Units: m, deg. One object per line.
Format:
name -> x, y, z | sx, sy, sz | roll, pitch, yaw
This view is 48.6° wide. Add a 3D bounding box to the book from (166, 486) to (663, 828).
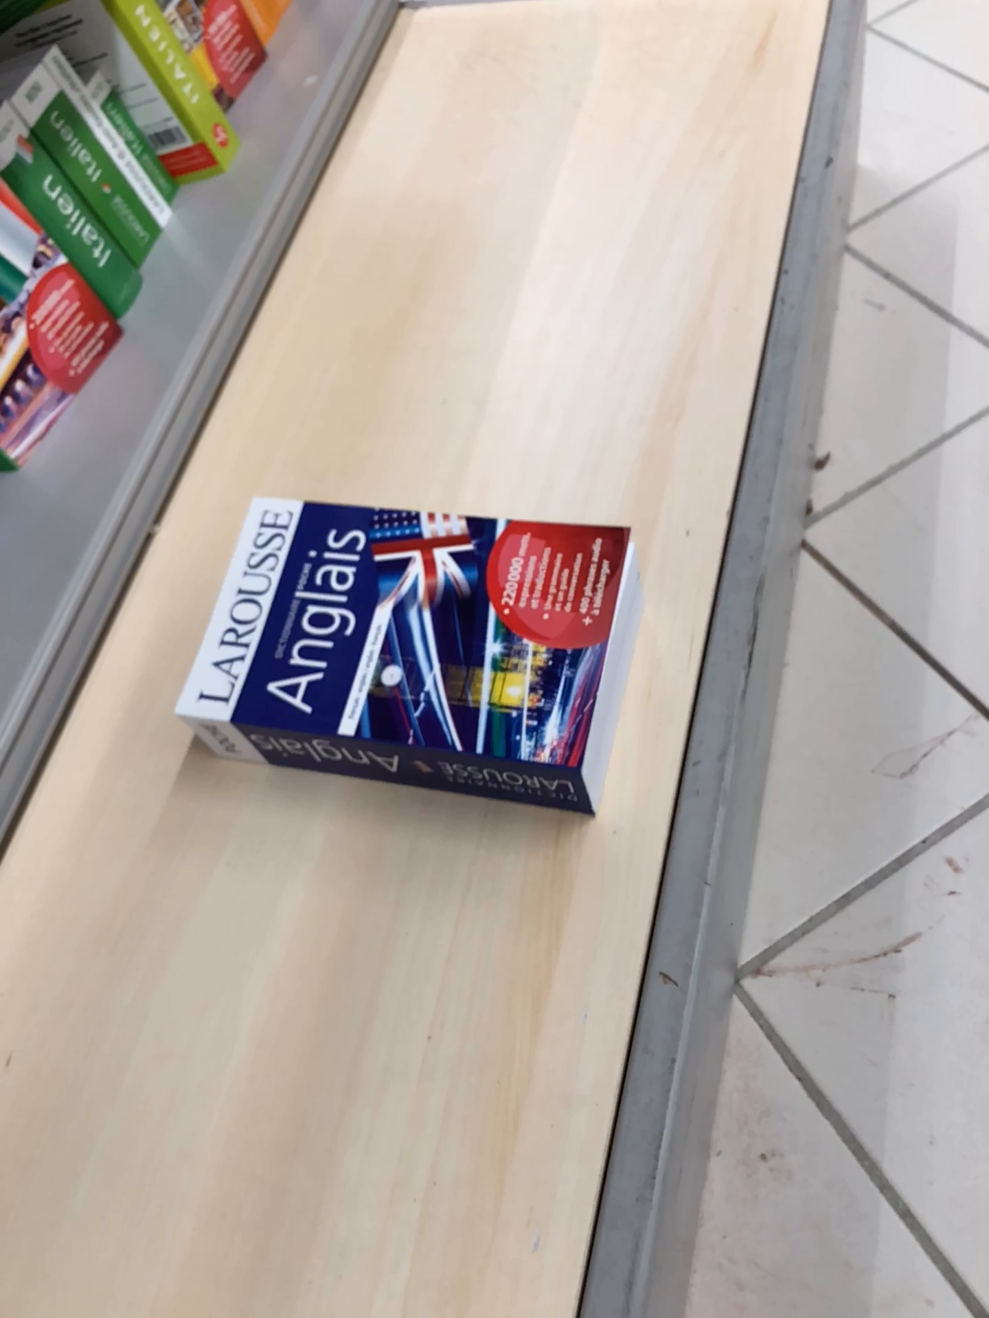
book -> -0.028, -0.006, 0.472 | 0.181, 0.054, 0.118 | 7, 59, 16
